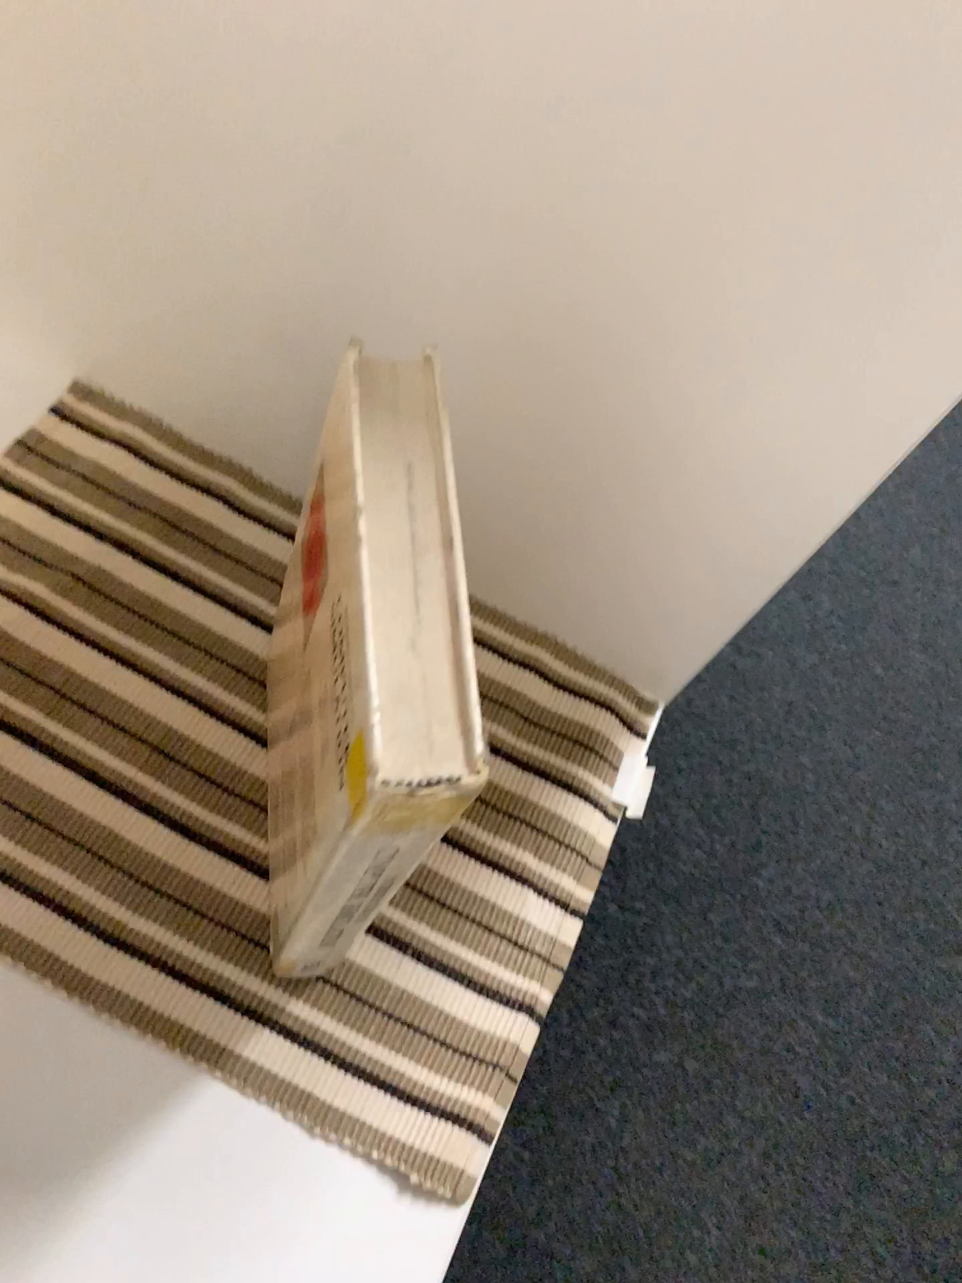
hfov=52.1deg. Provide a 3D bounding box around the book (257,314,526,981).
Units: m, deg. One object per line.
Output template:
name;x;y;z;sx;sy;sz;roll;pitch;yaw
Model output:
book;-0.054;0.022;0.397;0.040;0.239;0.171;0;60;-19
